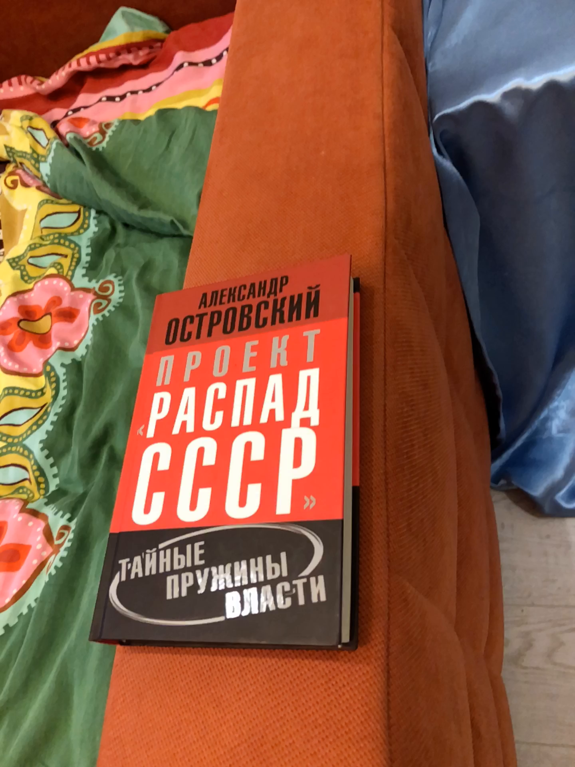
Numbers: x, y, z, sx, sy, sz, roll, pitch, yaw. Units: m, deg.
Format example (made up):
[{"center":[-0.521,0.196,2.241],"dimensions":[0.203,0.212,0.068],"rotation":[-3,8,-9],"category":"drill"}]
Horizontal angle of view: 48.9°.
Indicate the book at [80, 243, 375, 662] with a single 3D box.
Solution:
[{"center":[-0.024,0.030,0.334],"dimensions":[0.135,0.030,0.207],"rotation":[-8,60,22],"category":"book"}]
